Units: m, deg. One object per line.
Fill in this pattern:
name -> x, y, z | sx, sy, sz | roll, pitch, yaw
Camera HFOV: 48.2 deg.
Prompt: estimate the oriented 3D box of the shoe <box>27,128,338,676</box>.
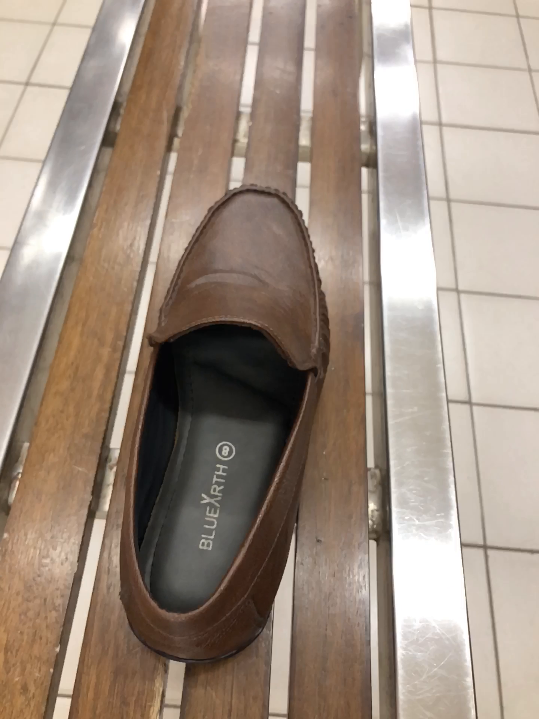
shoe -> -0.026, 0.008, 0.332 | 0.090, 0.090, 0.281 | 9, 60, 2
